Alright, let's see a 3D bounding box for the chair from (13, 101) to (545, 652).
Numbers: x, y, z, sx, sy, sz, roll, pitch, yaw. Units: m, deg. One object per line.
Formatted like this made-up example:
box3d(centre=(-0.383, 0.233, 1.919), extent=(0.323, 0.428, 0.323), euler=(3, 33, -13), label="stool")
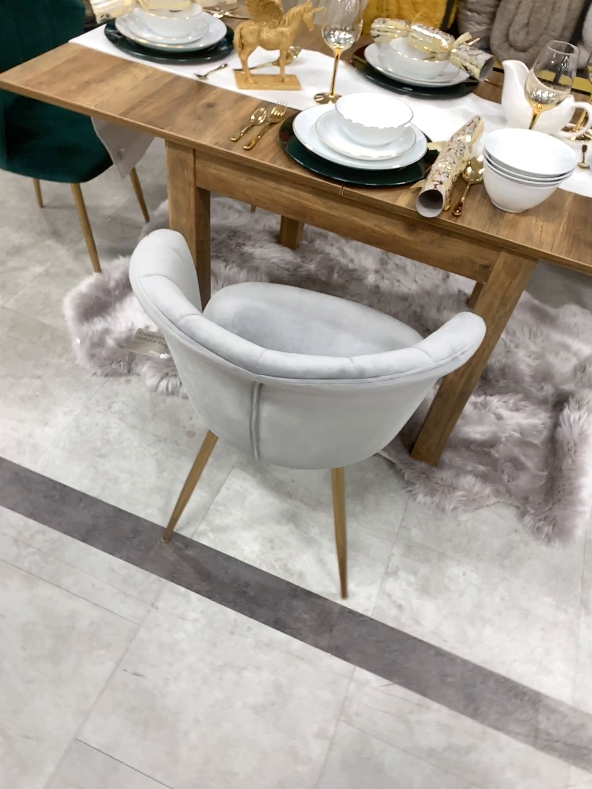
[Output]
box3d(centre=(0.001, -0.015, 1.139), extent=(0.631, 0.709, 0.555), euler=(17, 48, 7), label="chair")
